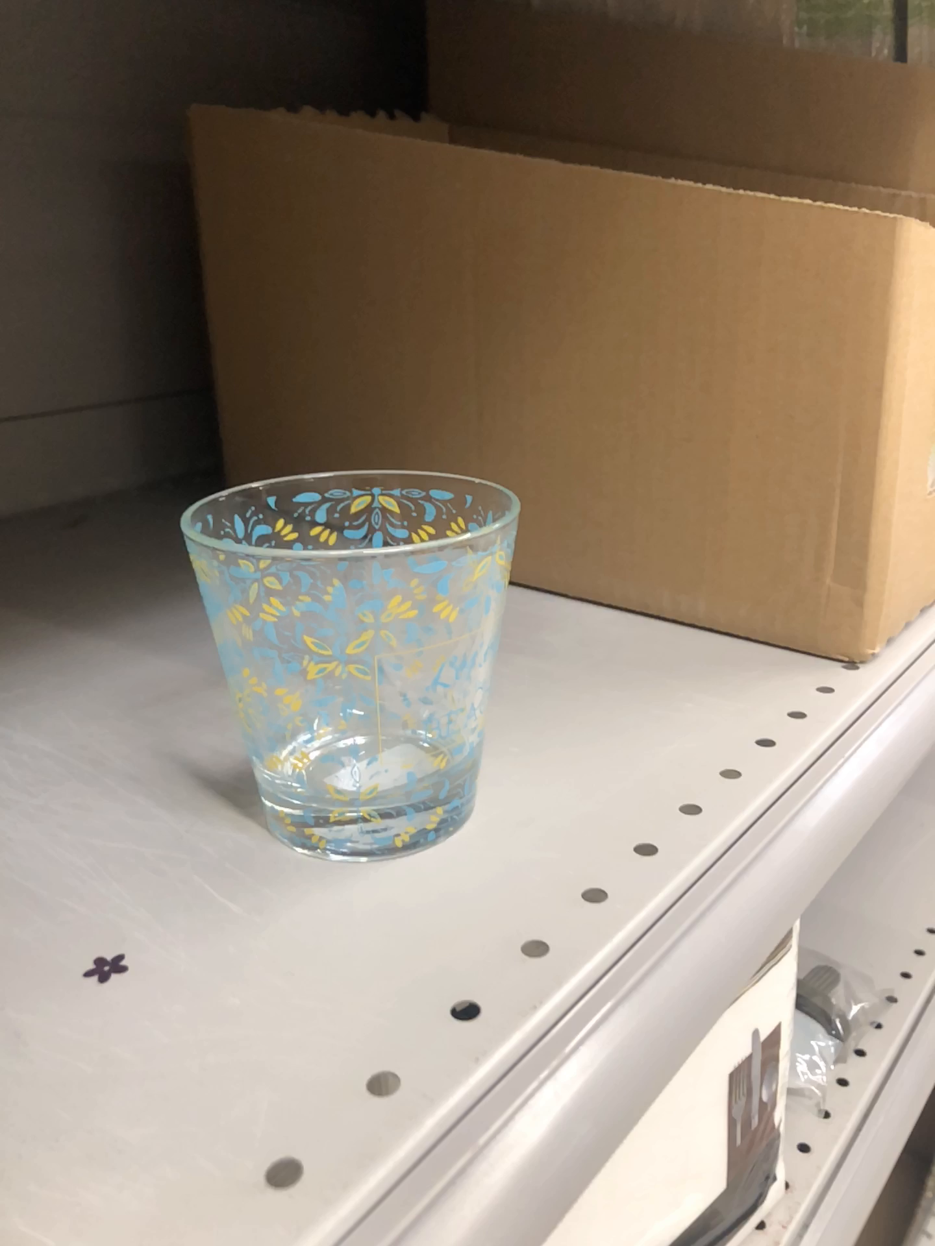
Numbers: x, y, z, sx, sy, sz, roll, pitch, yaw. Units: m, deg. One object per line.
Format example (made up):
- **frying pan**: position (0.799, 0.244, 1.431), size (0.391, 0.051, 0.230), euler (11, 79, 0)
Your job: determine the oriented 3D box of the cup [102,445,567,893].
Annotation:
- **cup**: position (-0.032, 0.004, 0.284), size (0.083, 0.080, 0.089), euler (2, 21, -1)
